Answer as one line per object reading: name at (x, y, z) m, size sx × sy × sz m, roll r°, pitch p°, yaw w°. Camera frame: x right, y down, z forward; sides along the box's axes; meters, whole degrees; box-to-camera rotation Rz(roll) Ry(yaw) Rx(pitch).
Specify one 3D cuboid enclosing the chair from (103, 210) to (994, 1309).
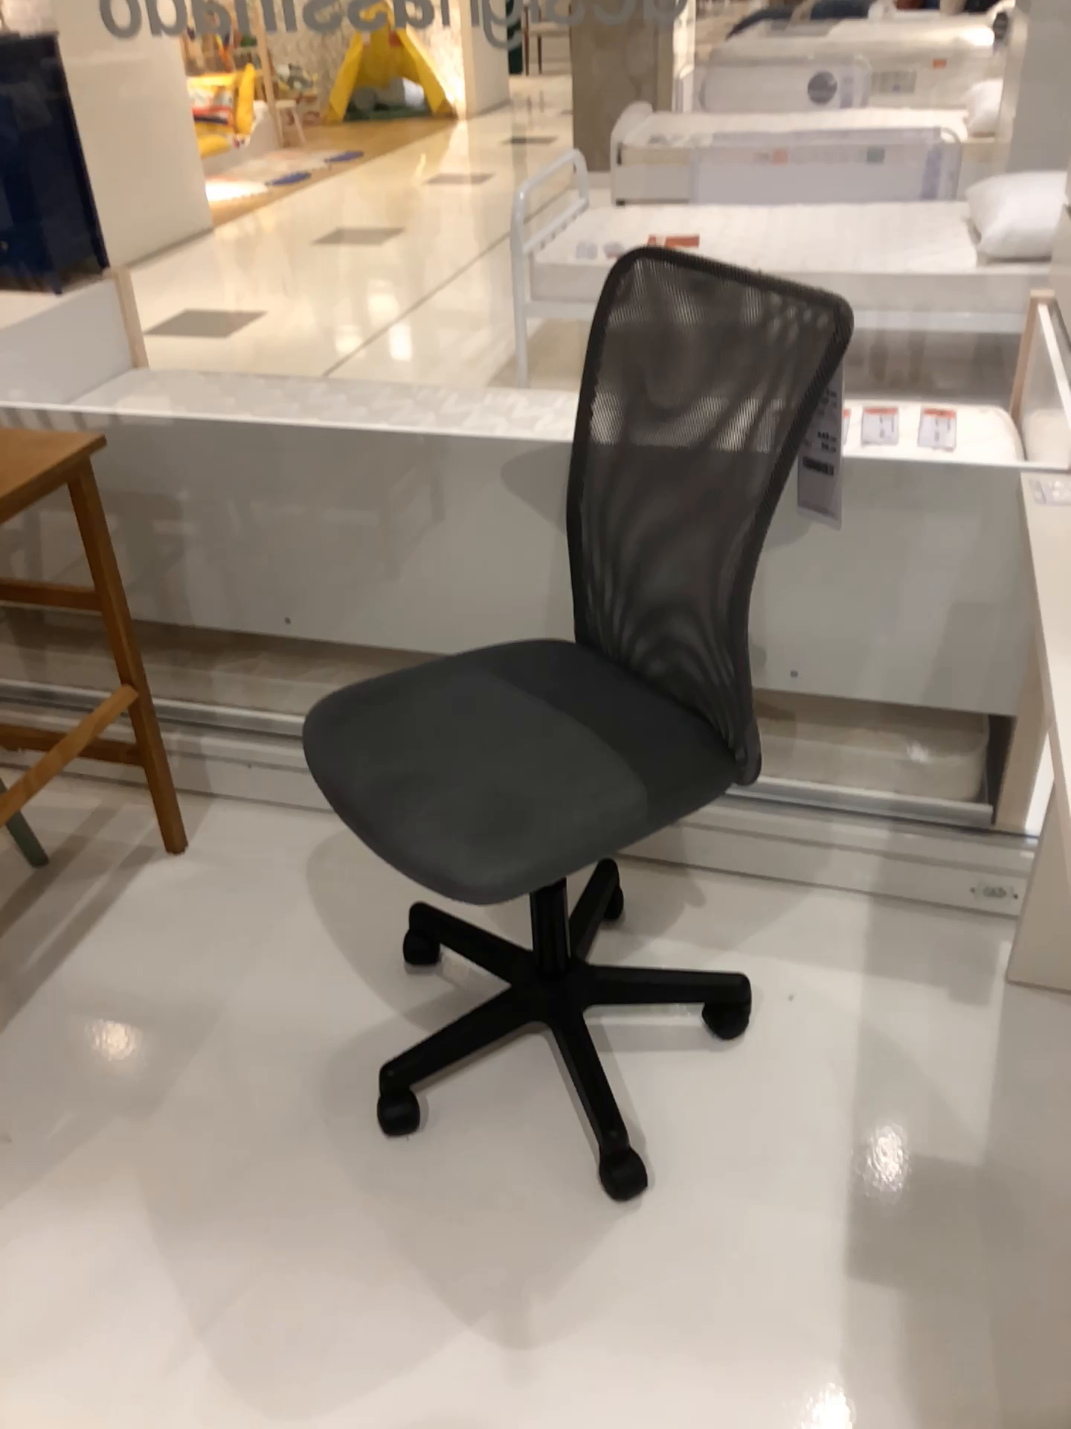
chair at (0.007, 0.007, 1.335) m, size 0.602 × 0.933 × 0.583 m, roll -22°, pitch 37°, yaw -27°
